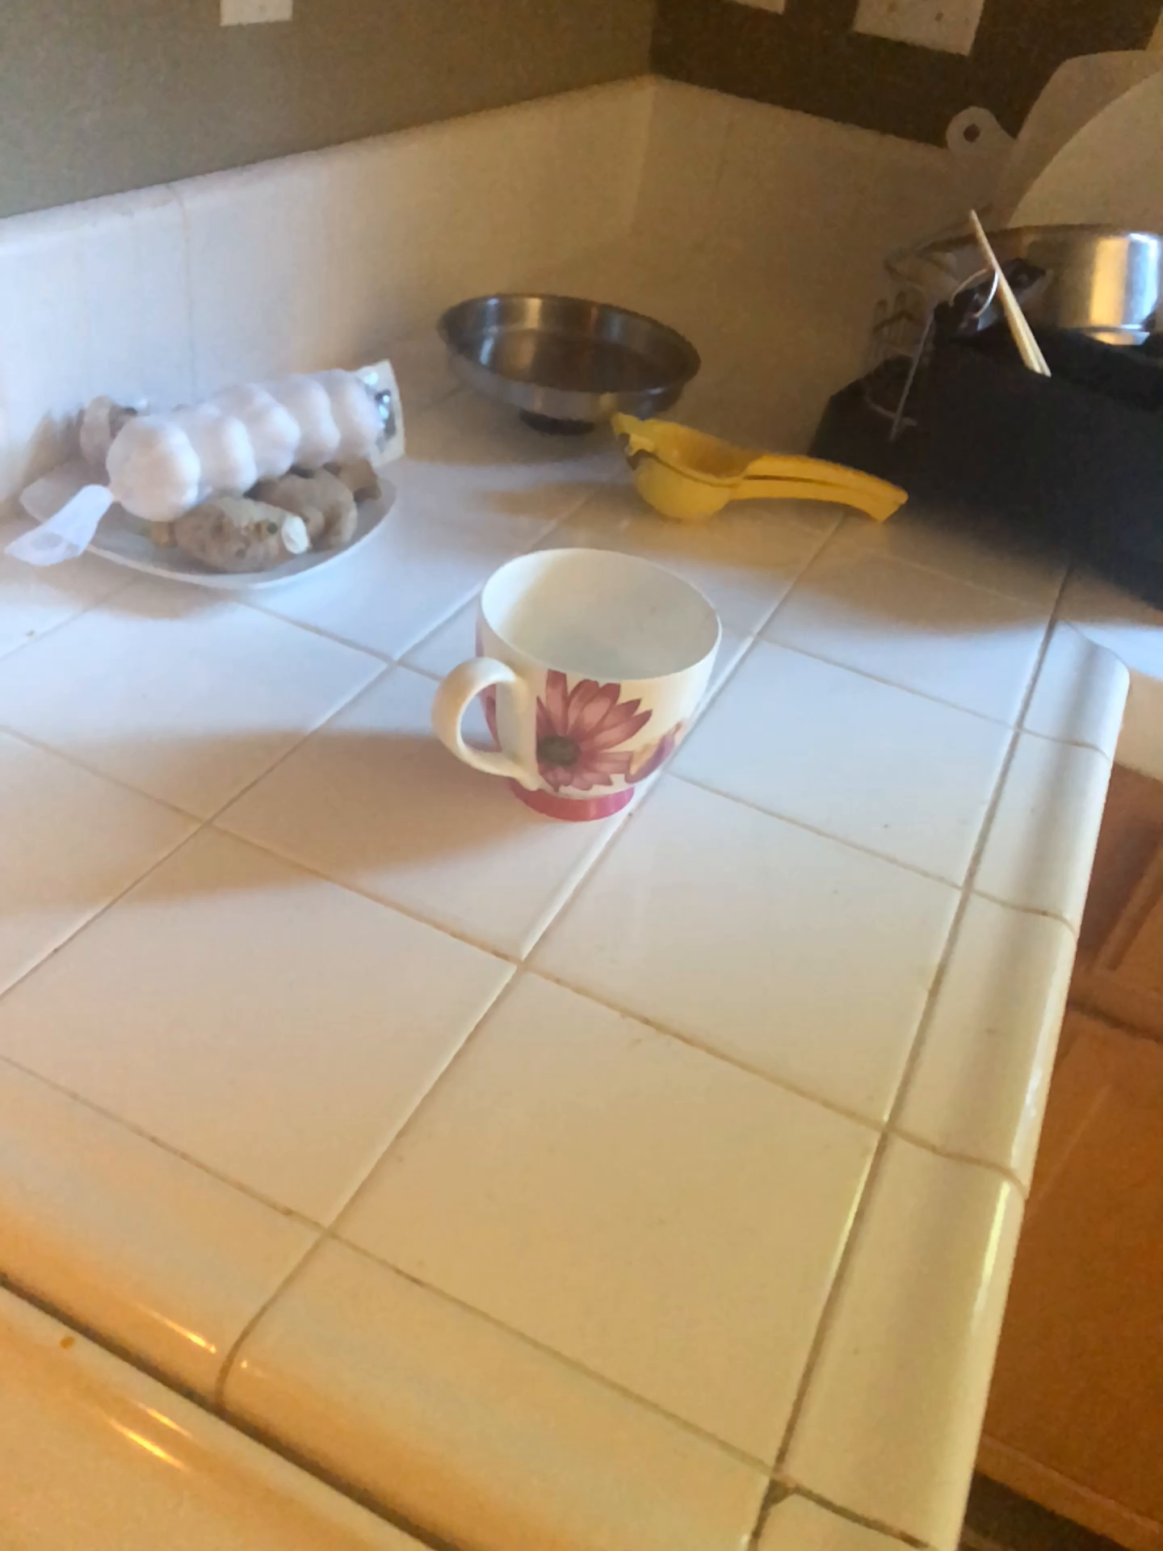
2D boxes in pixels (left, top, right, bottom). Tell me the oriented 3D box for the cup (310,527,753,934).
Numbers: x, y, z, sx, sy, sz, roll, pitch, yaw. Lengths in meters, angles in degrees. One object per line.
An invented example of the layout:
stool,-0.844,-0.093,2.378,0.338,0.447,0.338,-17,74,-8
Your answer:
cup,-0.021,-0.029,0.576,0.100,0.089,0.171,33,42,26
